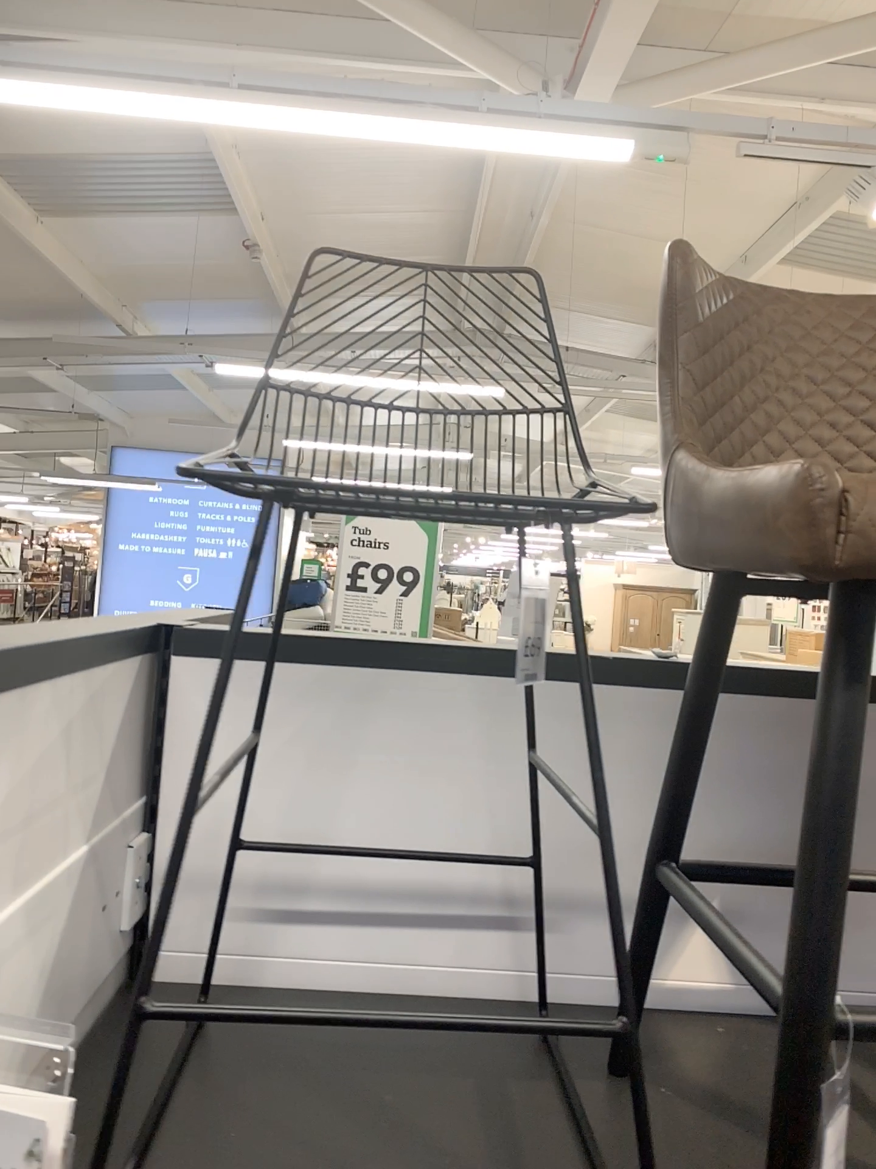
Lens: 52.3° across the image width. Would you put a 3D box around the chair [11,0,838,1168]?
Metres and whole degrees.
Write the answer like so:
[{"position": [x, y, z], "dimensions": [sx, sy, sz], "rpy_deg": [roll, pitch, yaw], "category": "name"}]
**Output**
[{"position": [-0.011, 0.045, 0.885], "dimensions": [0.504, 0.964, 0.529], "rpy_deg": [4, -1, -3], "category": "chair"}]
